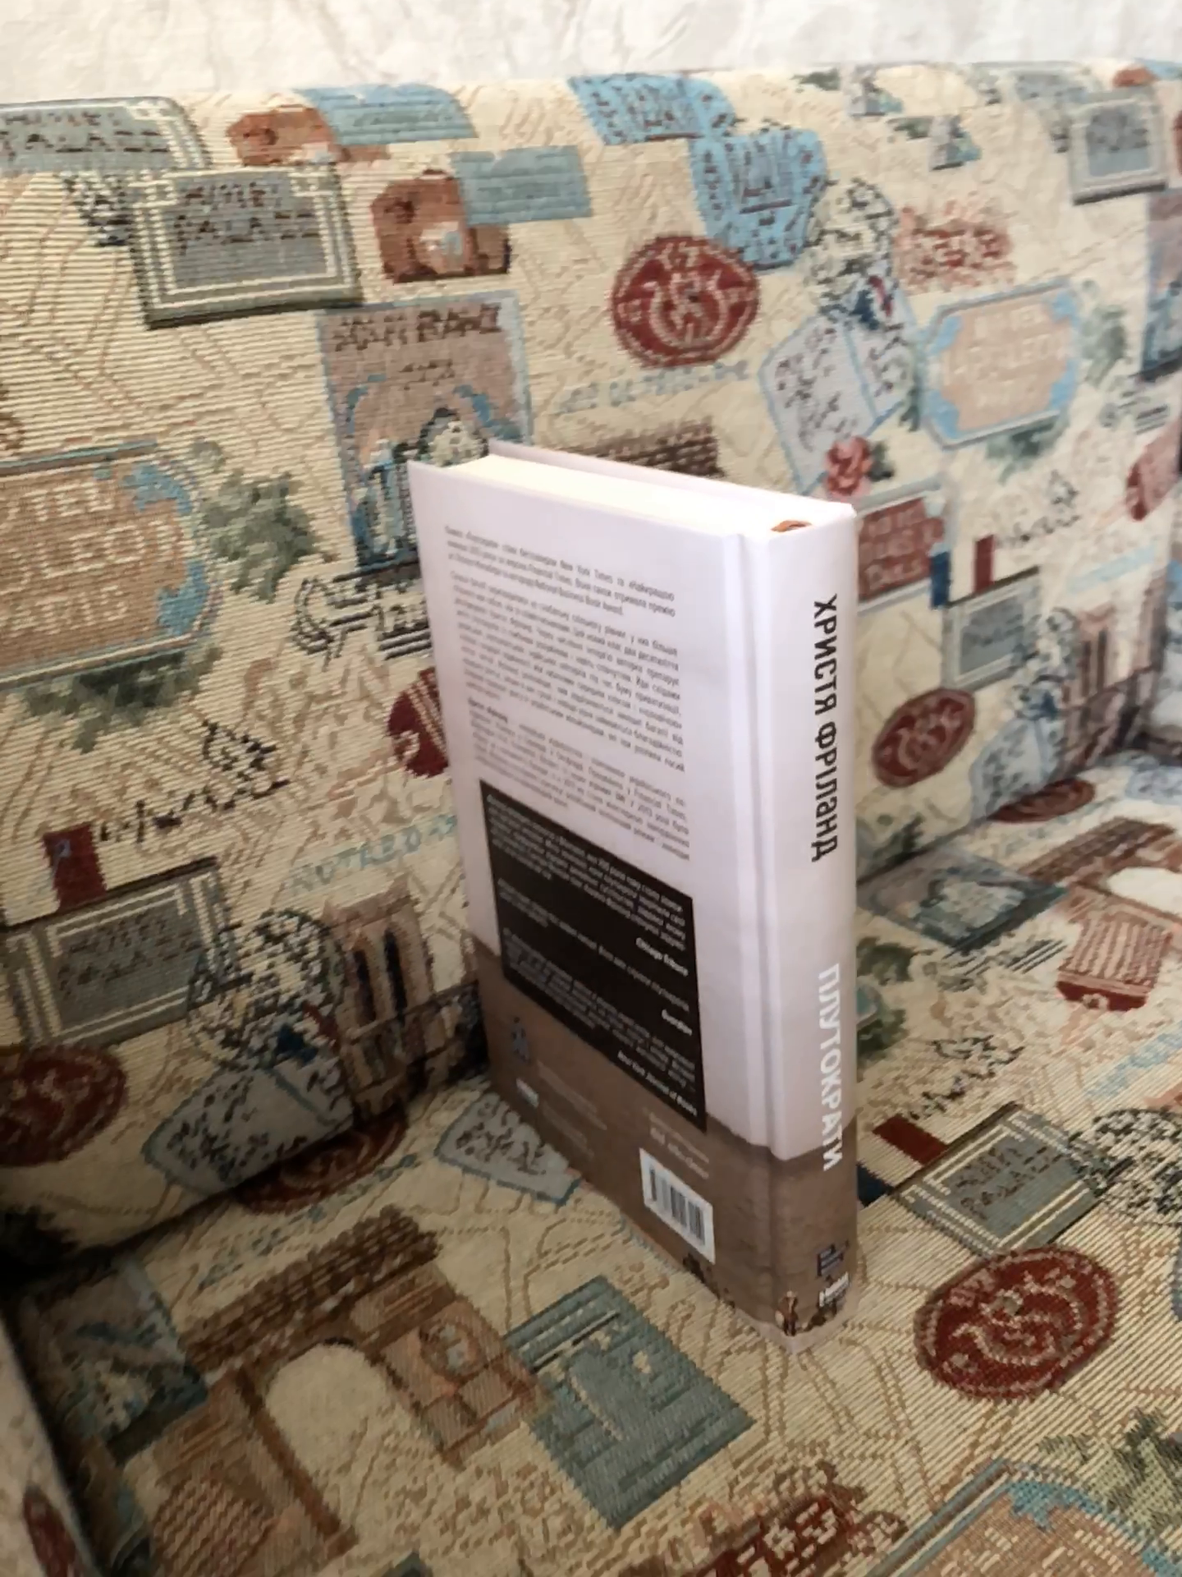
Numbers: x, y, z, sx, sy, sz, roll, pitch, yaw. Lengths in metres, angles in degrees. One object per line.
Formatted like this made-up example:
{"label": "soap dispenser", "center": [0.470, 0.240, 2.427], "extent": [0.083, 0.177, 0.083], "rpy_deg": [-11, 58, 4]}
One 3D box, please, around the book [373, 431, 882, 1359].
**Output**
{"label": "book", "center": [0.008, 0.020, 0.362], "extent": [0.036, 0.215, 0.158], "rpy_deg": [-20, 28, -31]}
